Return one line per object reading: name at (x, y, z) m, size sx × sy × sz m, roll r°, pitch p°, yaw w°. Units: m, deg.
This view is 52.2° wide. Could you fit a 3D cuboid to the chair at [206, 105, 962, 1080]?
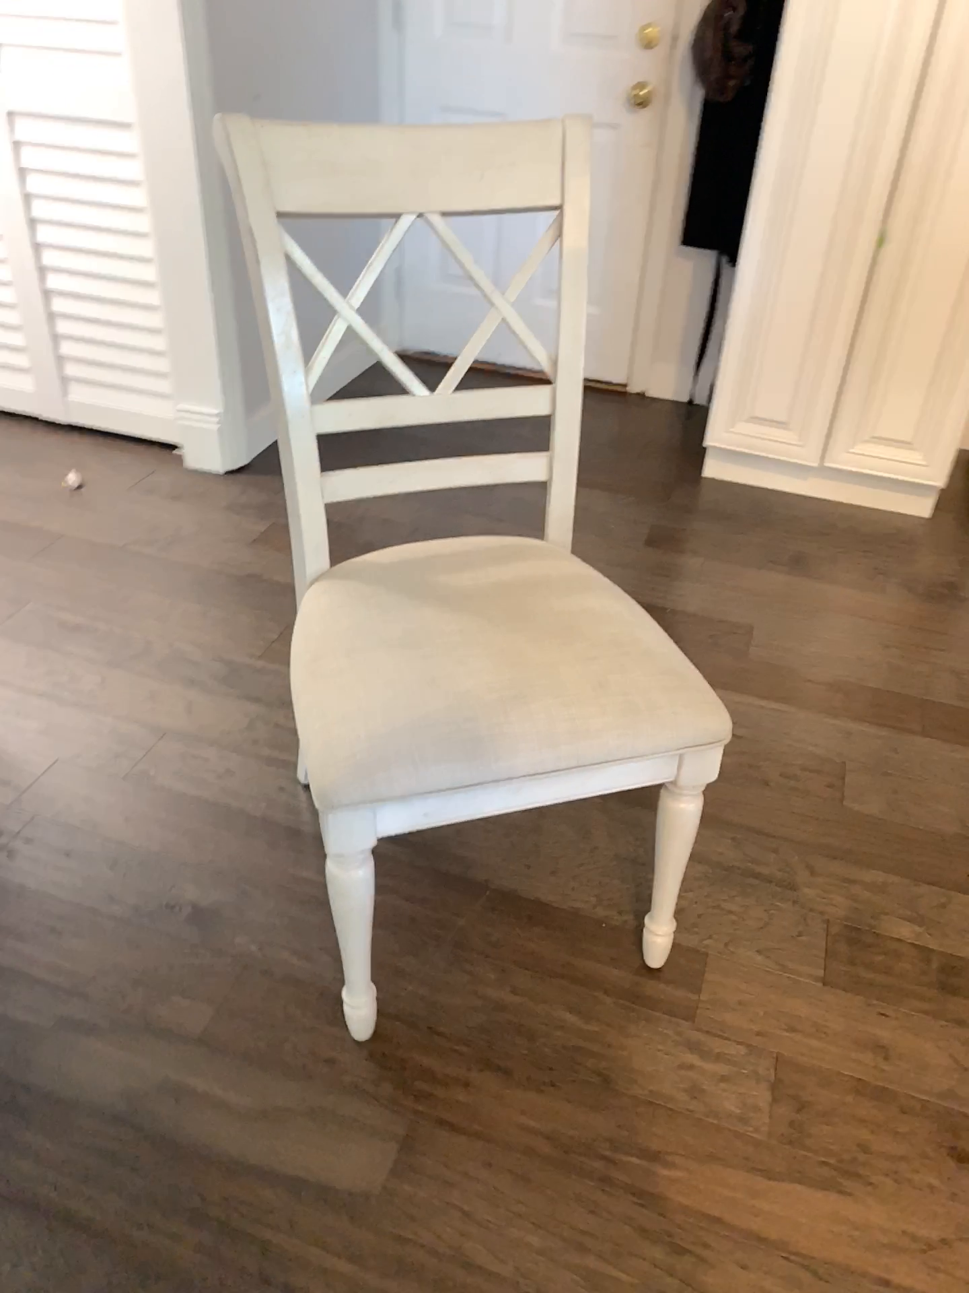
chair at (0.001, -0.089, 1.213) m, size 0.530 × 0.924 × 0.654 m, roll -7°, pitch 36°, yaw -14°
